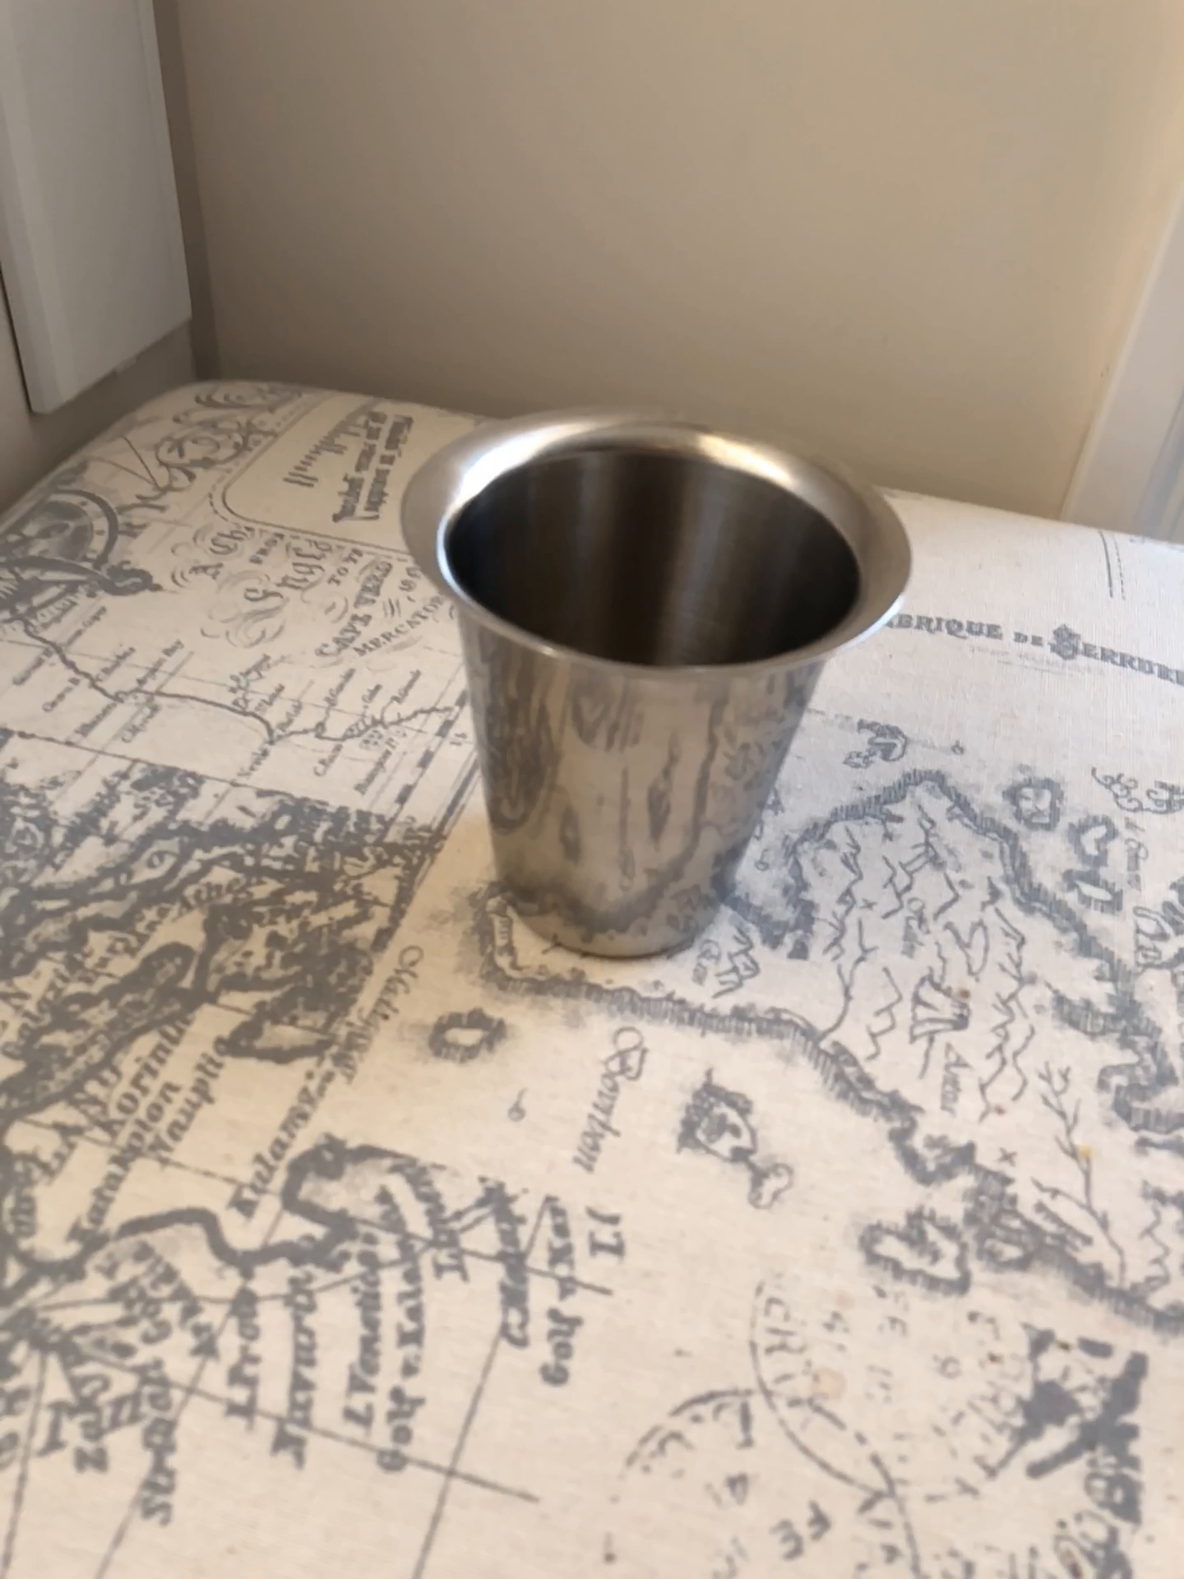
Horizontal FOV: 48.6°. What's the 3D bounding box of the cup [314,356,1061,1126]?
[{"bbox_3d":[0.011,-0.014,0.229,0.081,0.081,0.084,3,40,-3],"label":"cup"}]
